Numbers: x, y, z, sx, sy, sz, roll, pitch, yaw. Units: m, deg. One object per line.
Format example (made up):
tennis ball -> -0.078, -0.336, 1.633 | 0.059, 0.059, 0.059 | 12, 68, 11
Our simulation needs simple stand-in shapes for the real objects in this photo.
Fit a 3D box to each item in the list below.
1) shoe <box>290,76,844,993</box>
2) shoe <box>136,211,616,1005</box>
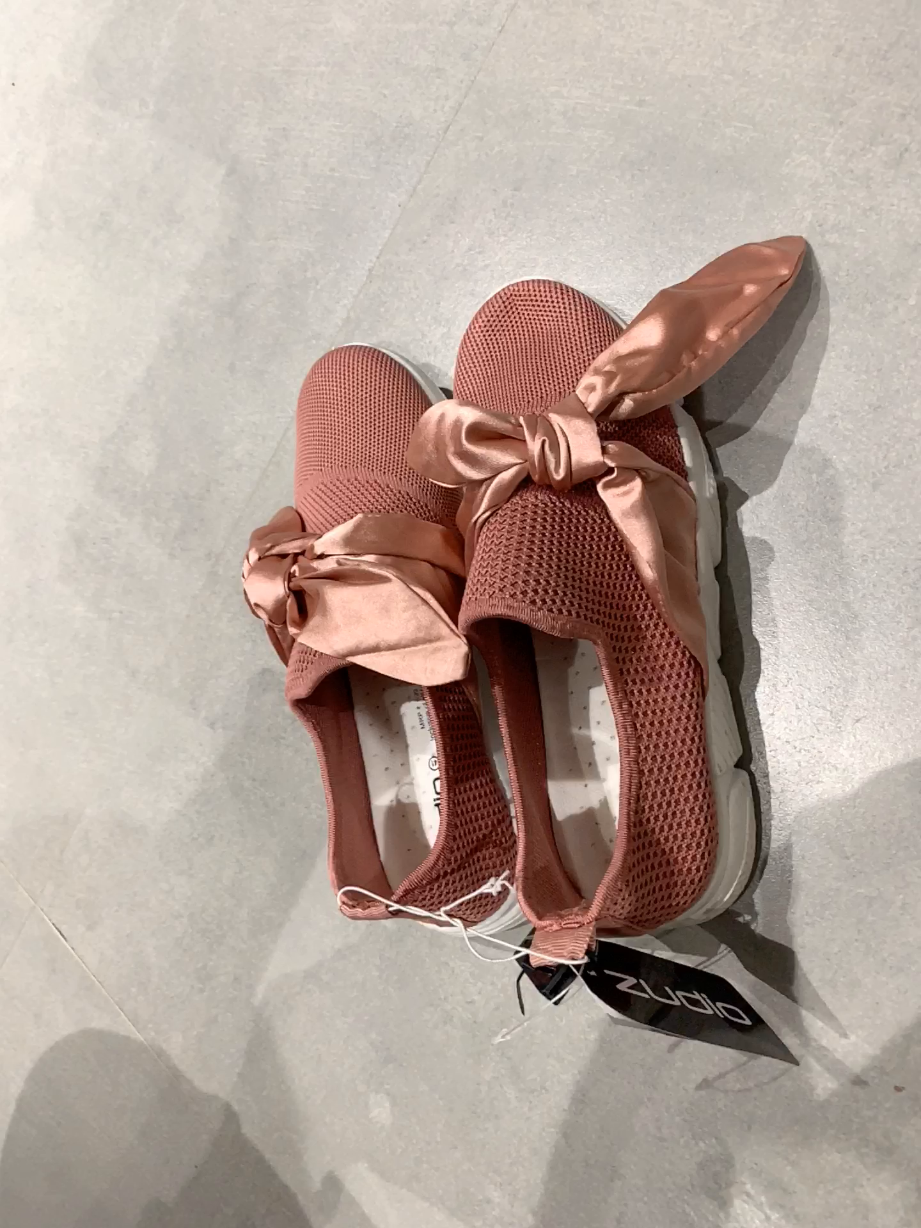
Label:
shoe -> 0.036, -0.022, 0.342 | 0.110, 0.100, 0.270 | -18, 77, 26
shoe -> -0.036, 0.001, 0.389 | 0.110, 0.100, 0.270 | -18, 77, 26
